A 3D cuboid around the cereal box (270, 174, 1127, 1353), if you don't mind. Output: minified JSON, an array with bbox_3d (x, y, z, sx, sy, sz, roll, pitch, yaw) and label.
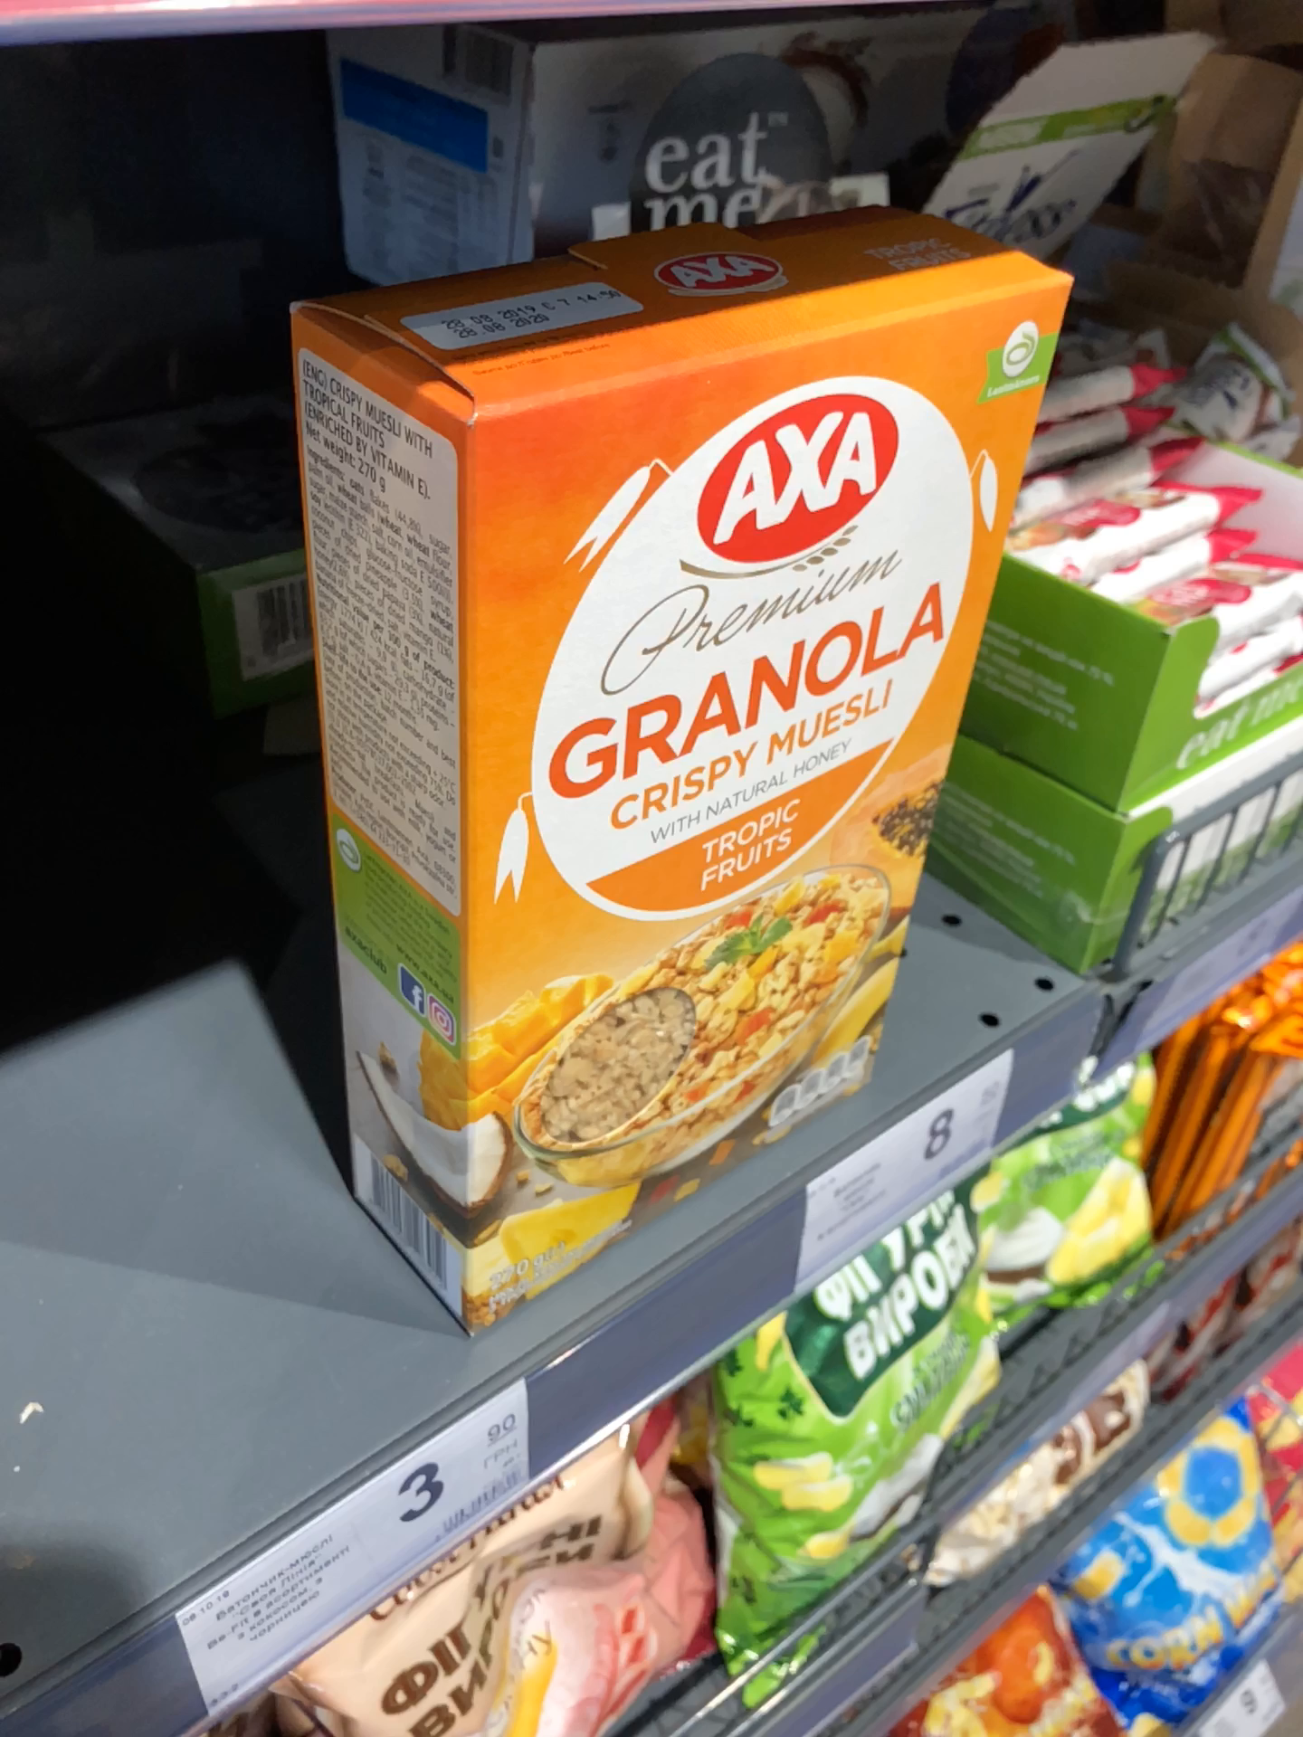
[{"bbox_3d":[0.005,-0.016,0.297,0.141,0.208,0.050,-26,49,-34],"label":"cereal box"}]
